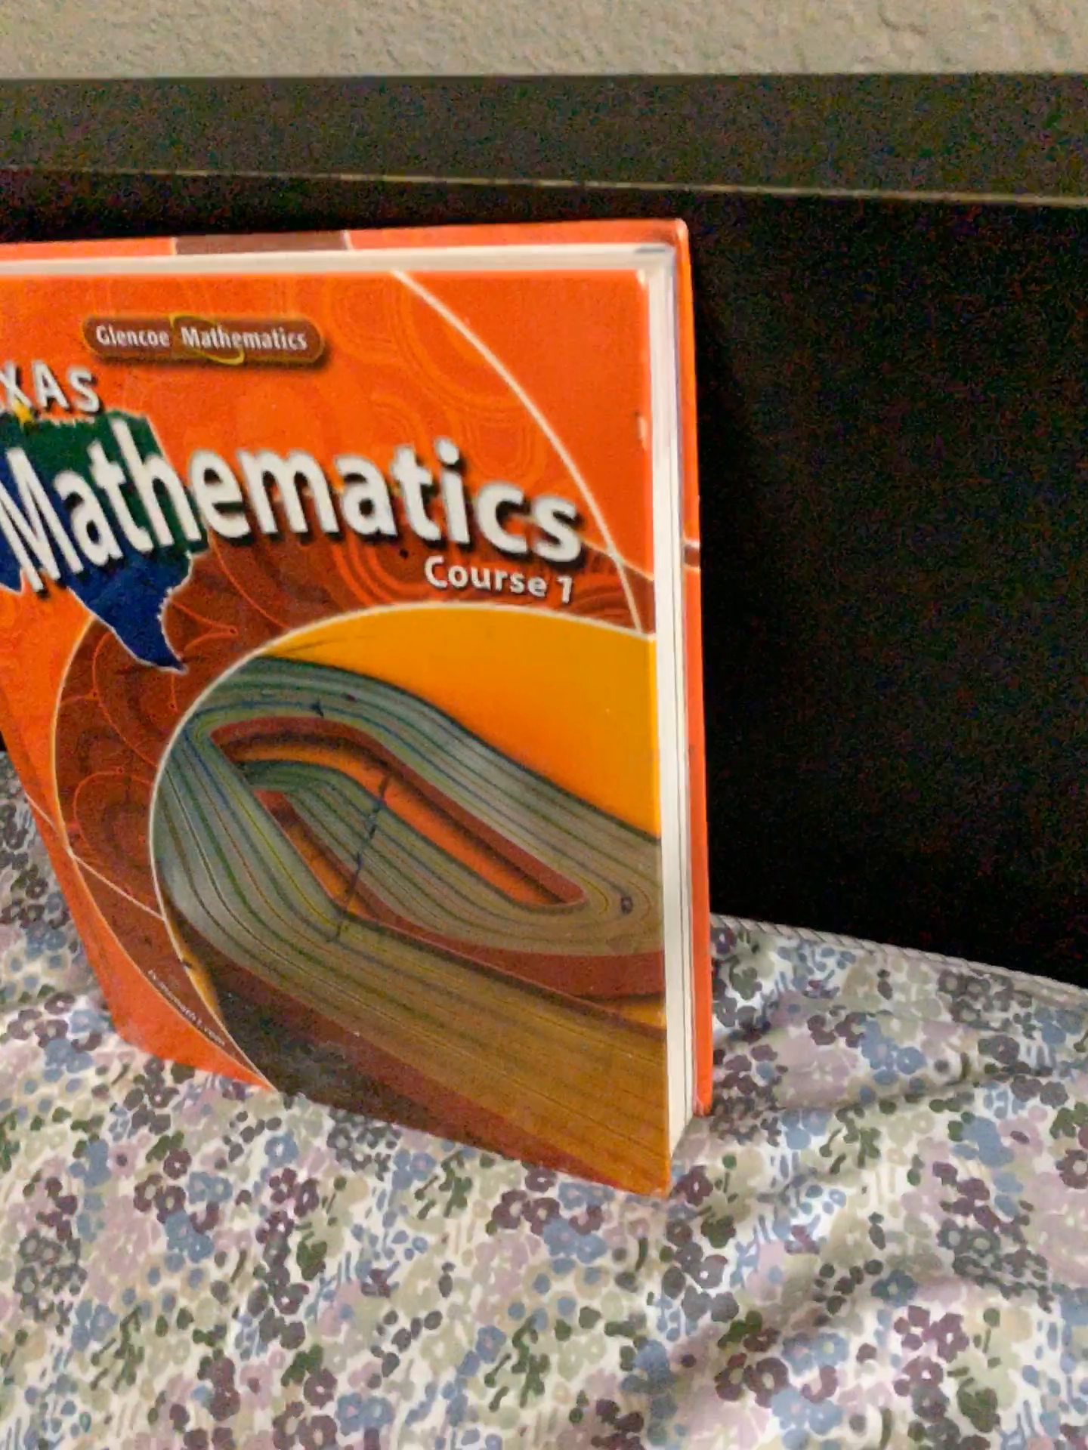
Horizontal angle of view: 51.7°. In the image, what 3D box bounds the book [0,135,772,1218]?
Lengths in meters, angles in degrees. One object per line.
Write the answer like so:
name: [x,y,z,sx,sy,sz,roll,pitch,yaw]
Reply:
book: [-0.061,0.008,0.318,0.230,0.299,0.050,7,38,17]
